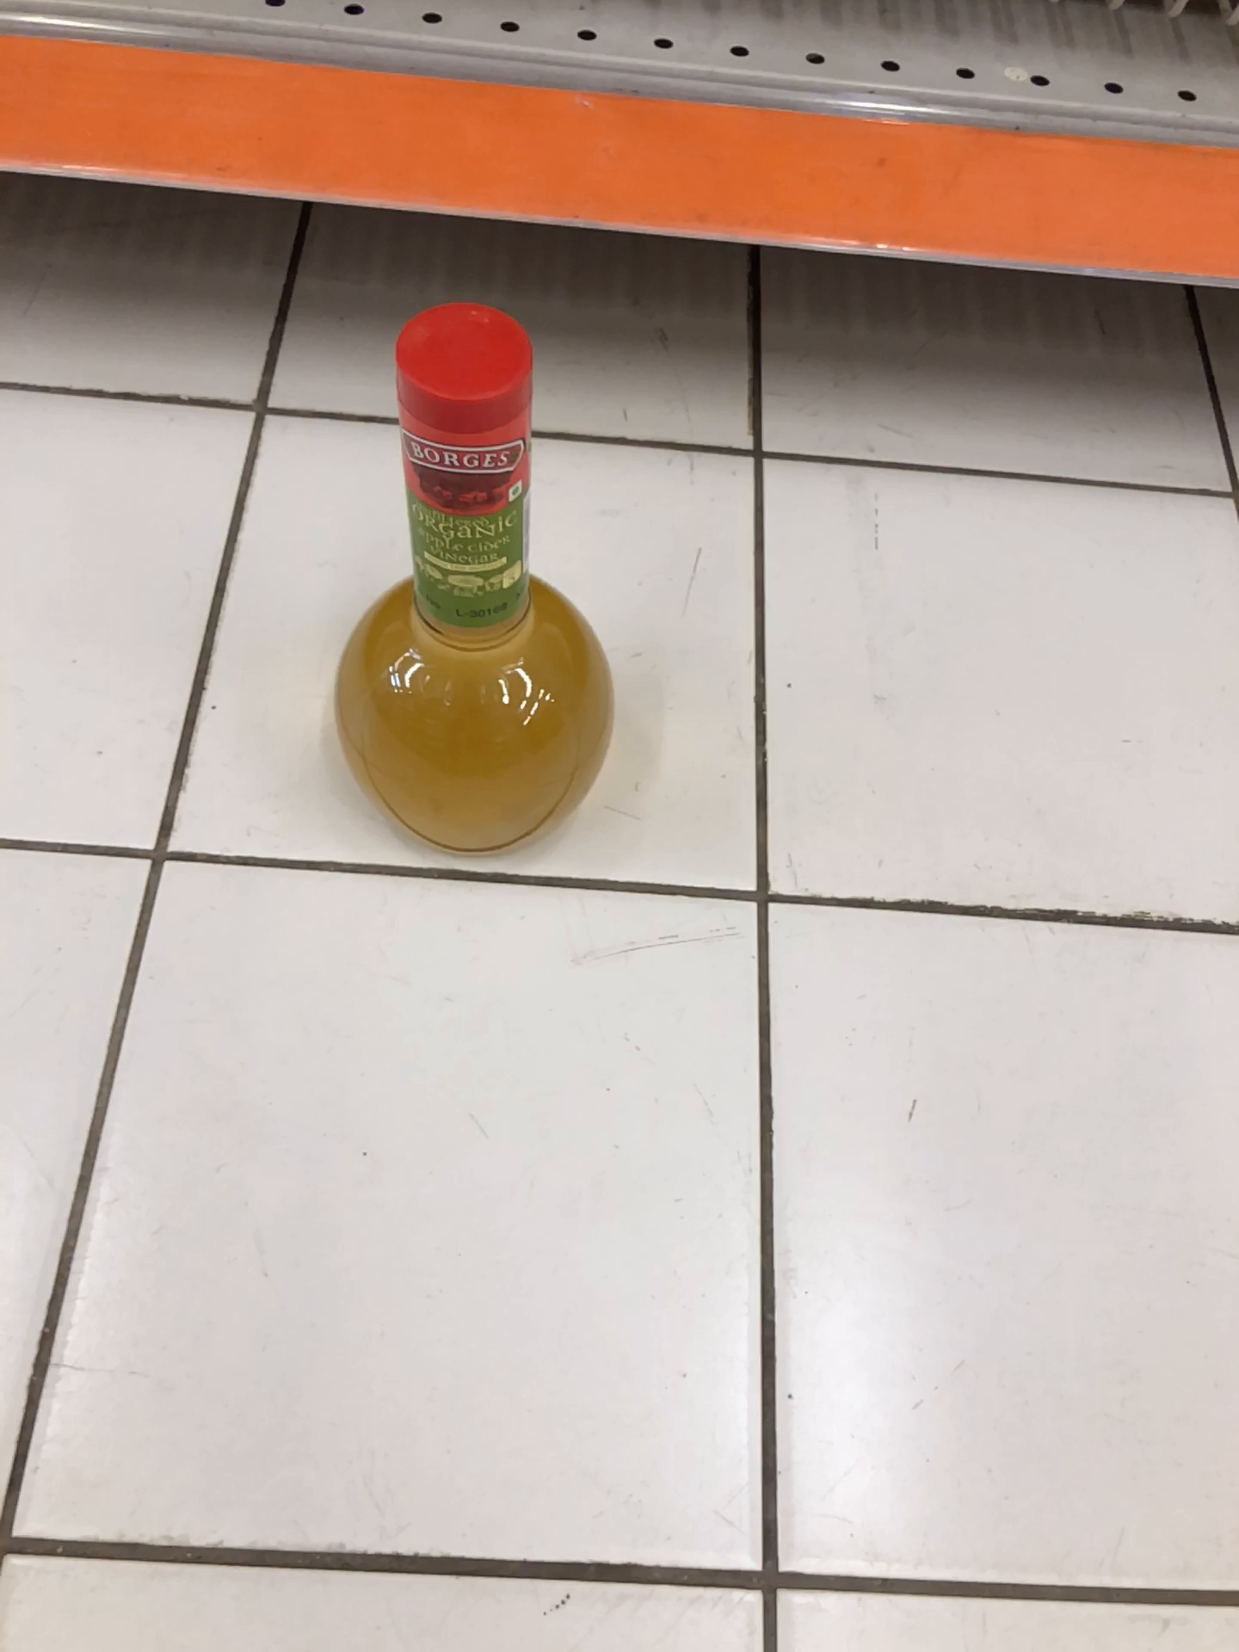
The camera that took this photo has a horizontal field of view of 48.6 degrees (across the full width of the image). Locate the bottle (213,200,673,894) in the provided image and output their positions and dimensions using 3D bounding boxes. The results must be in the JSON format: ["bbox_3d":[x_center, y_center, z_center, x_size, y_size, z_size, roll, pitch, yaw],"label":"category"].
[{"bbox_3d":[-0.042,-0.064,0.378,0.090,0.169,0.090,2,60,-4],"label":"bottle"}]
